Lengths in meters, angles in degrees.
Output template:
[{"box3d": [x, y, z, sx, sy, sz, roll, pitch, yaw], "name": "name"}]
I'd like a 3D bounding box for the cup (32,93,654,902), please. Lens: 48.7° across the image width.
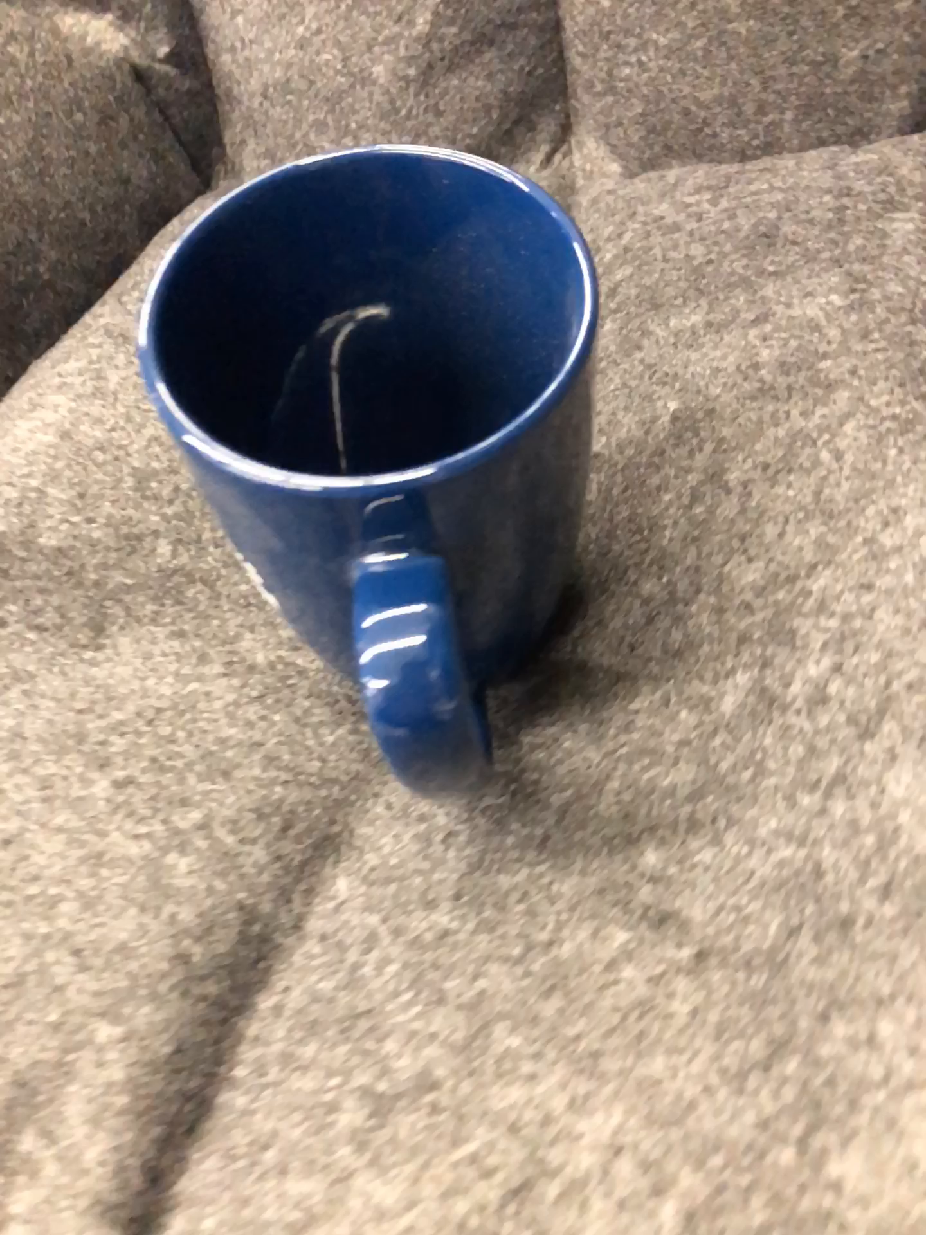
[{"box3d": [-0.011, -0.020, 0.225, 0.090, 0.109, 0.131, -4, 58, 7], "name": "cup"}]
